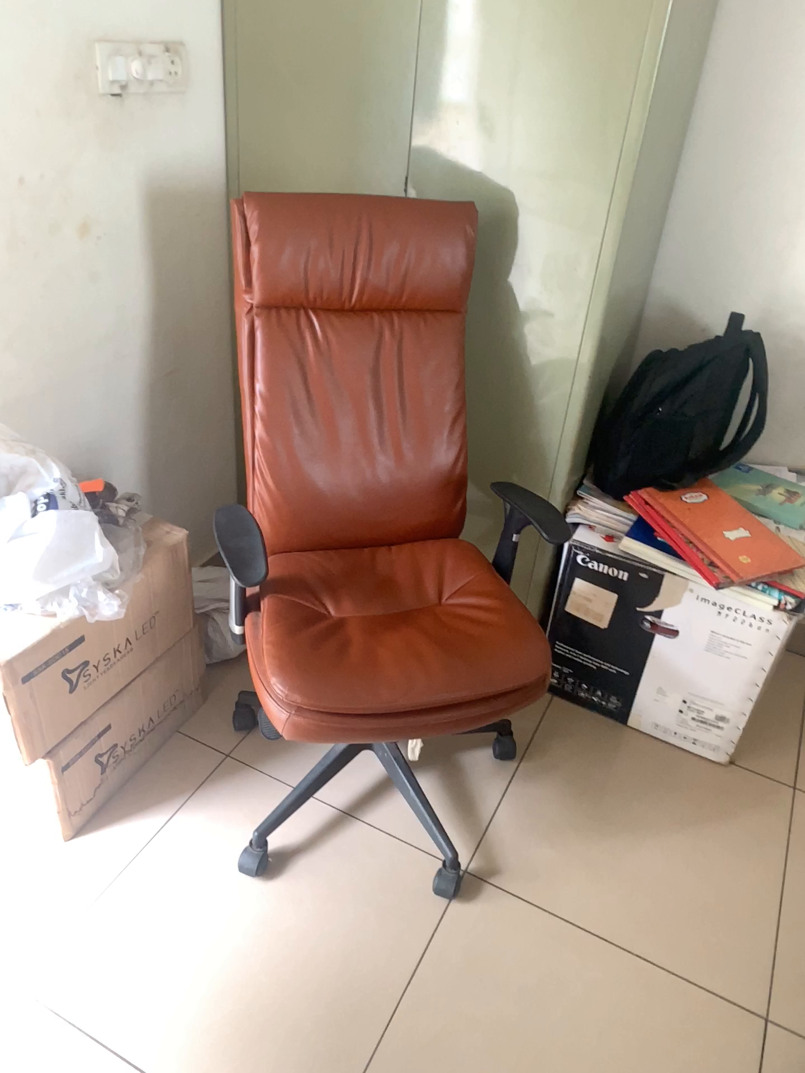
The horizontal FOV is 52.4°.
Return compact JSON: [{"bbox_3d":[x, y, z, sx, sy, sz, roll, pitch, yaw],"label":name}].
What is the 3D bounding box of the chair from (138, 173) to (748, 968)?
[{"bbox_3d":[-0.086,-0.003,1.557,0.690,1.085,0.934,-5,35,-16],"label":"chair"}]
